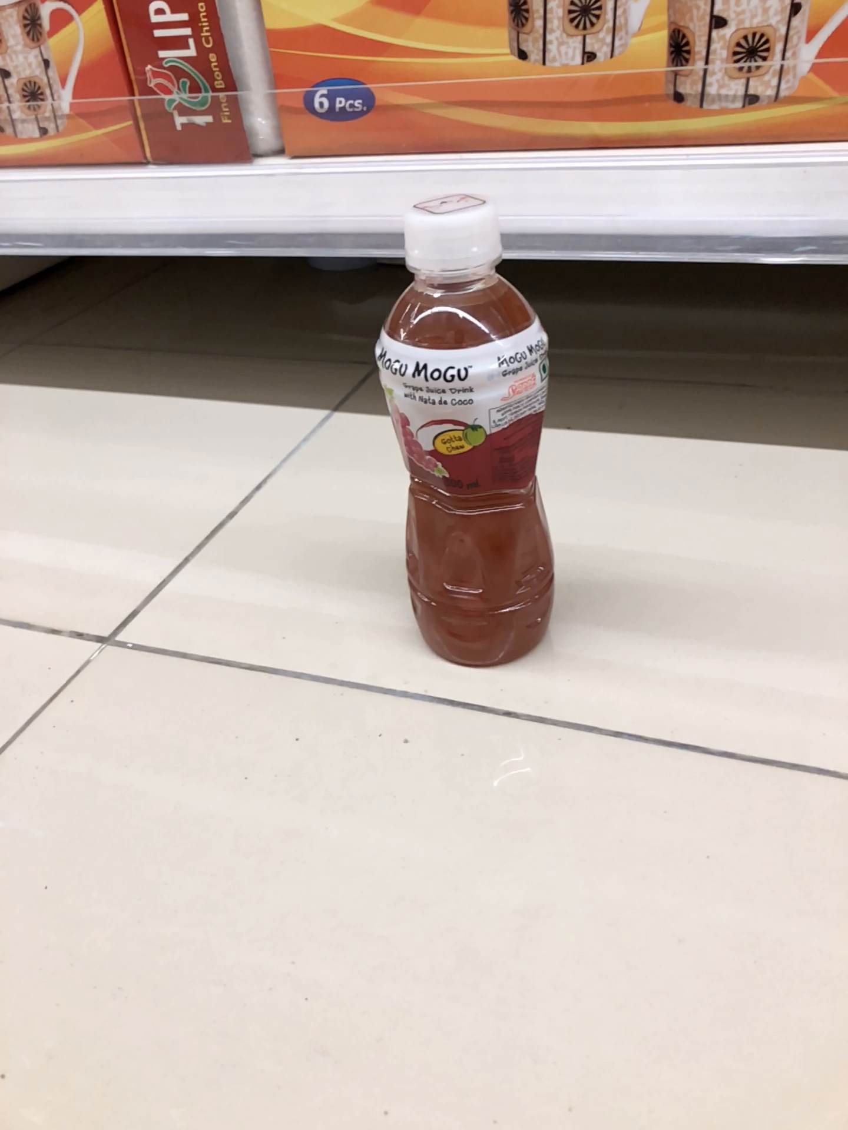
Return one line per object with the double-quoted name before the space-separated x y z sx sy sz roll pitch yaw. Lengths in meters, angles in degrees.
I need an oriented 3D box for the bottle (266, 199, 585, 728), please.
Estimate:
"bottle" 0.008 -0.036 0.332 0.070 0.159 0.070 -4 33 3
